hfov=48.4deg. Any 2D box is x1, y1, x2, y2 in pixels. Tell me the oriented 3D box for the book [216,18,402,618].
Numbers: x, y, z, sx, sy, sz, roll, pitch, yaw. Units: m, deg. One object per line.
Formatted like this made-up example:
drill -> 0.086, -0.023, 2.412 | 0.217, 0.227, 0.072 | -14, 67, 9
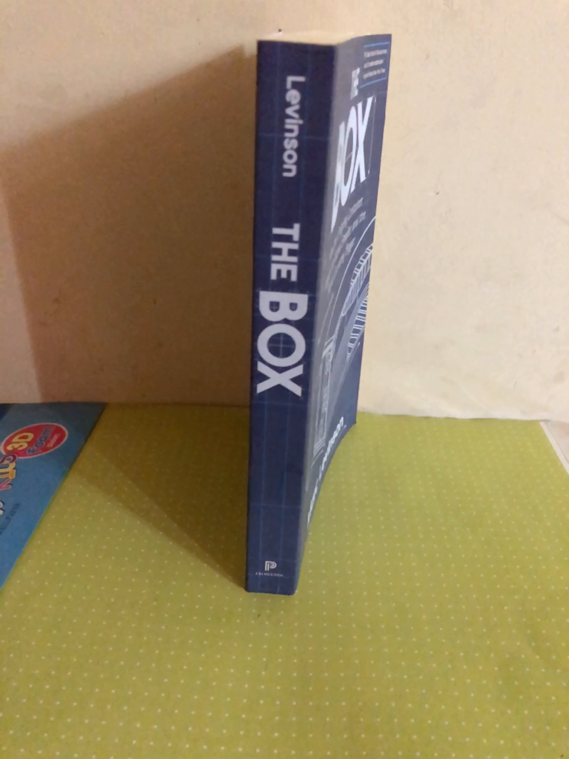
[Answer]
book -> 0.016, -0.040, 0.298 | 0.050, 0.219, 0.181 | 6, 28, 7
